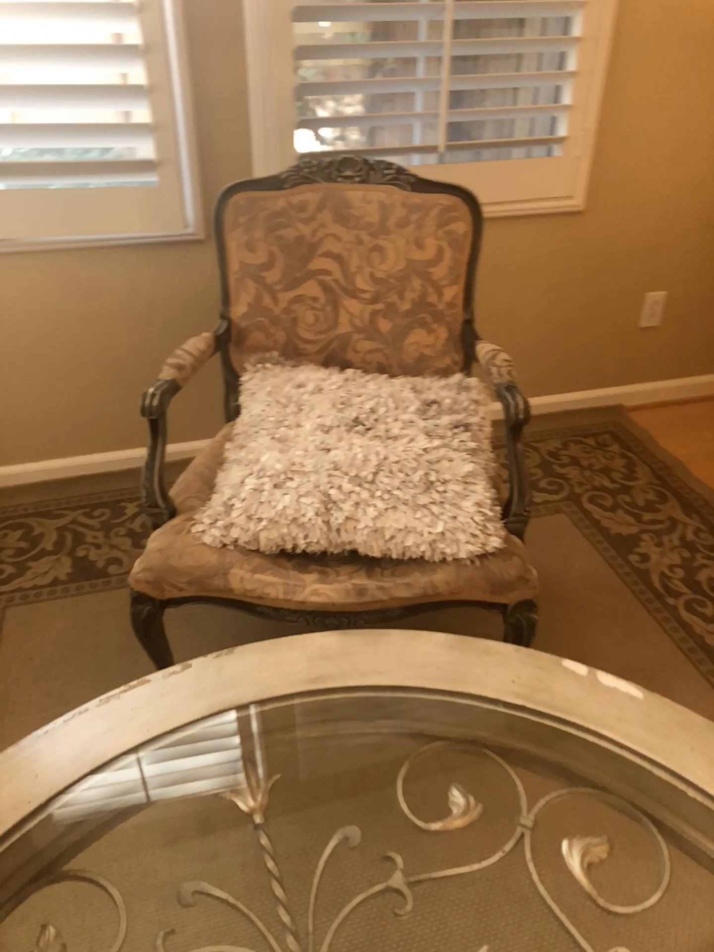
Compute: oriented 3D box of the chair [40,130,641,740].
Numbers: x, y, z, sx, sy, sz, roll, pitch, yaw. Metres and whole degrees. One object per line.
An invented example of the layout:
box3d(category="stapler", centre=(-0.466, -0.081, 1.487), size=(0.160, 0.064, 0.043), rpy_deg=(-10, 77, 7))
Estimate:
box3d(category="chair", centre=(-0.019, -0.087, 1.527), size=(0.760, 0.972, 0.656), rpy_deg=(1, 33, 1))
